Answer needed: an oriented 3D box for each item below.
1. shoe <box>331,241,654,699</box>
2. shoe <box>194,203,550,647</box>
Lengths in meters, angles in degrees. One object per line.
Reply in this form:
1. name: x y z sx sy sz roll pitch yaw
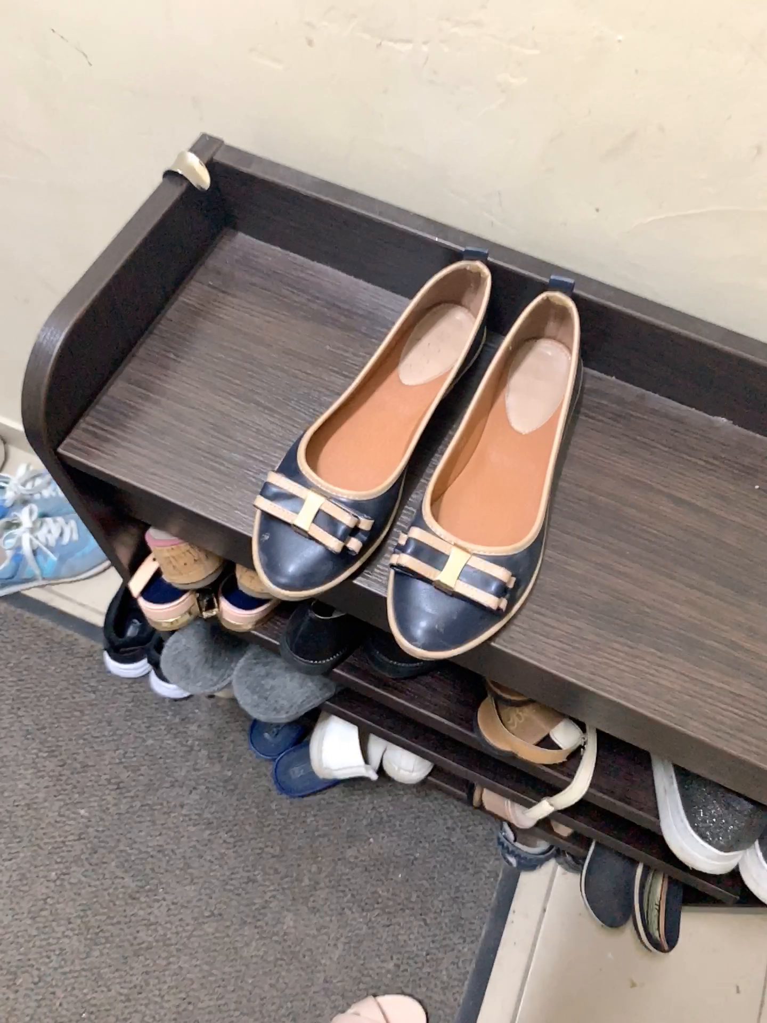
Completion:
1. shoe: 0.078 -0.037 0.518 0.100 0.100 0.280 21 63 14
2. shoe: 0.005 -0.067 0.526 0.100 0.100 0.280 23 63 15
